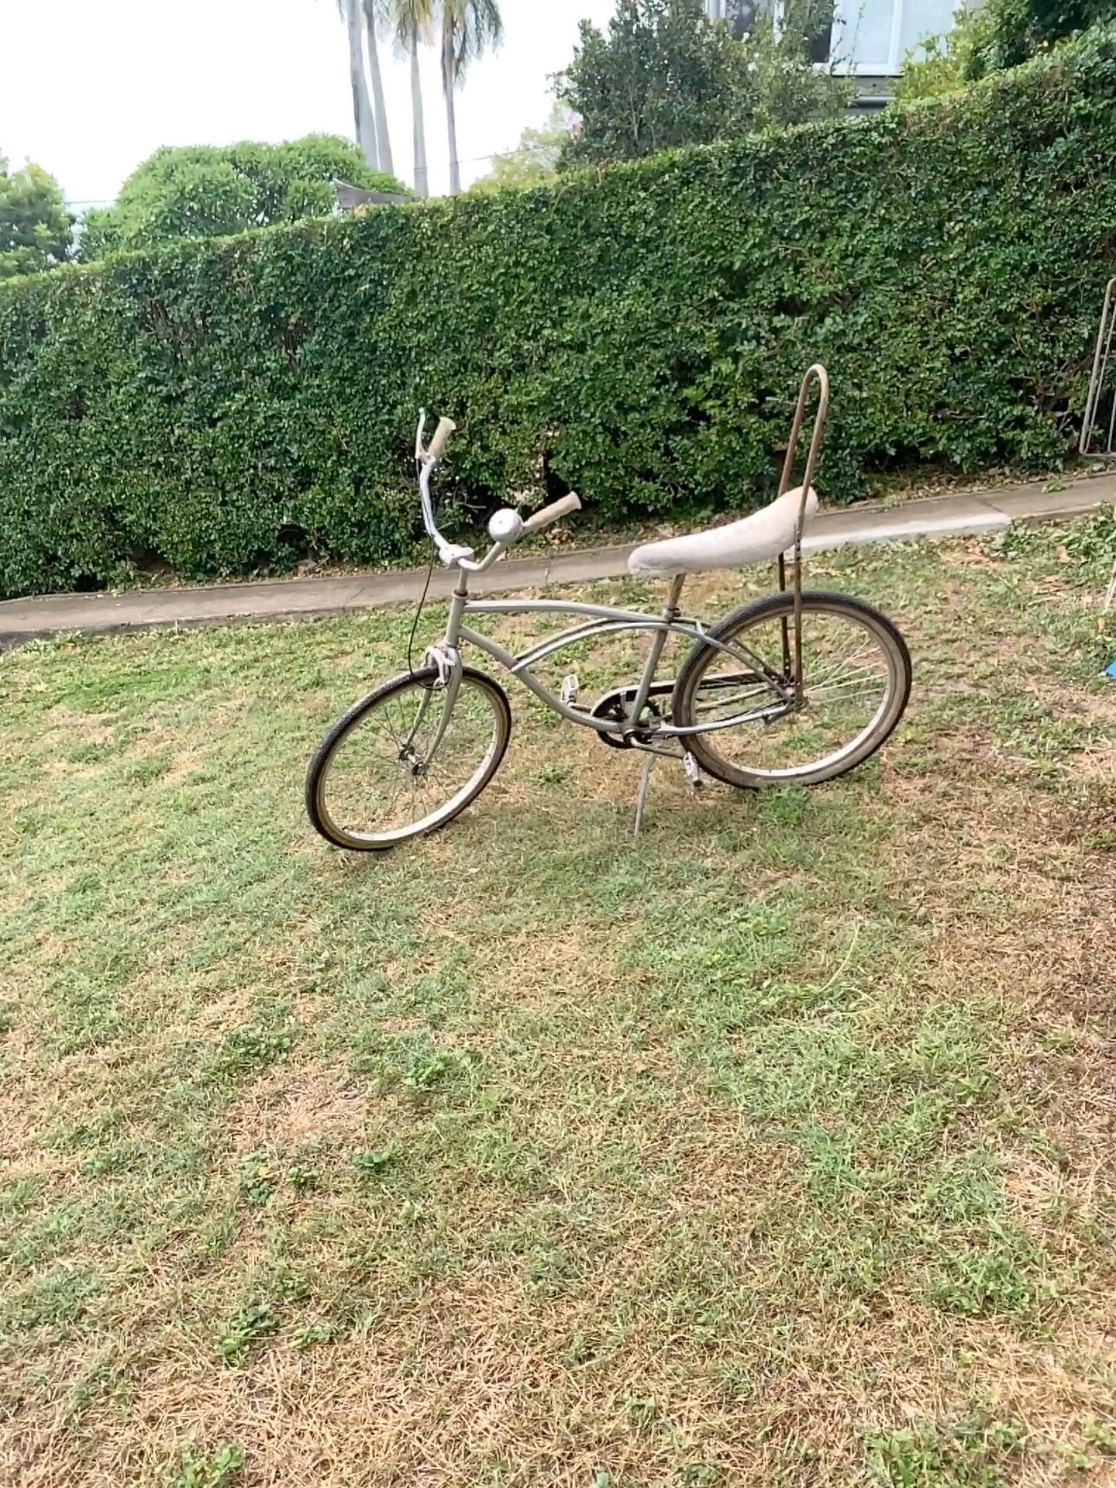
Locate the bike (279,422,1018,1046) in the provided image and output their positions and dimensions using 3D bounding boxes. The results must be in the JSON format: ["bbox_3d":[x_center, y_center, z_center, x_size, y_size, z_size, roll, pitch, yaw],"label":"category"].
[{"bbox_3d":[0.150,-0.094,2.926,1.599,0.991,0.804,-10,20,-4],"label":"bike"}]
